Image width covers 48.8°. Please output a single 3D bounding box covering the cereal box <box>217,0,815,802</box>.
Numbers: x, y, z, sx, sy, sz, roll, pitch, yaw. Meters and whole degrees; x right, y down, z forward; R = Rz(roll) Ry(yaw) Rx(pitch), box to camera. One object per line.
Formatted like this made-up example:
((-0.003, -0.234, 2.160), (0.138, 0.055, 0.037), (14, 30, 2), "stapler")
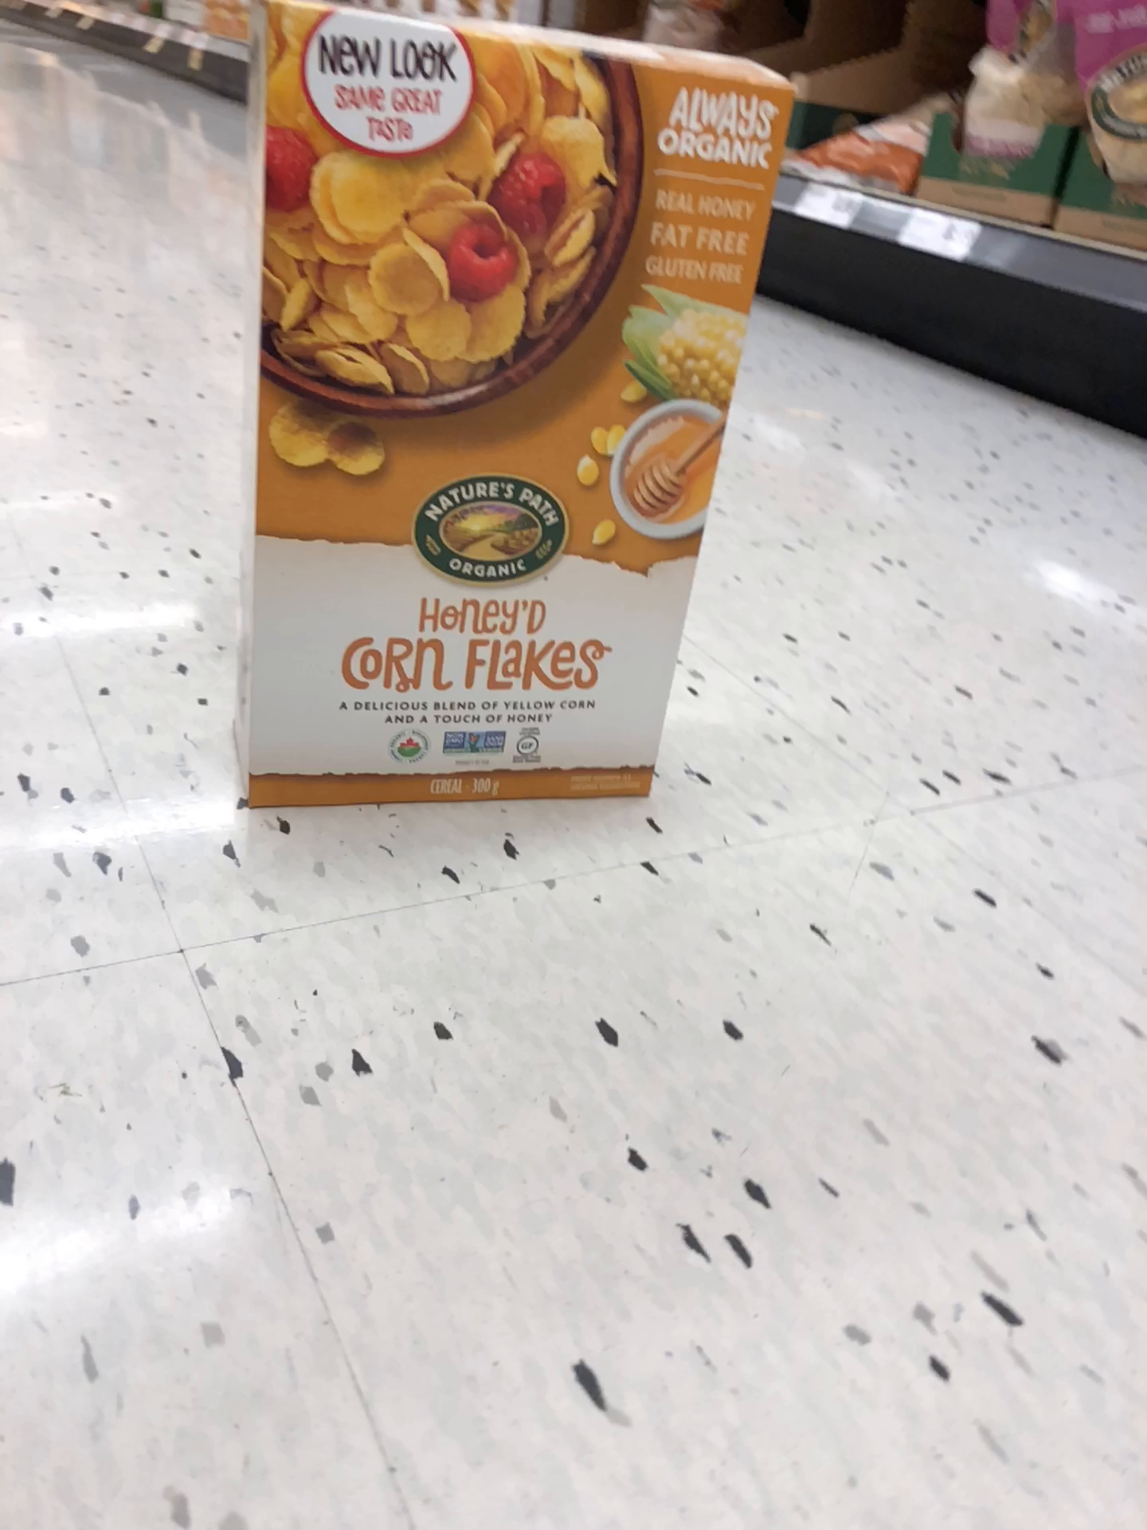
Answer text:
((-0.033, -0.107, 0.417), (0.160, 0.238, 0.060), (-1, 31, -18), "cereal box")
